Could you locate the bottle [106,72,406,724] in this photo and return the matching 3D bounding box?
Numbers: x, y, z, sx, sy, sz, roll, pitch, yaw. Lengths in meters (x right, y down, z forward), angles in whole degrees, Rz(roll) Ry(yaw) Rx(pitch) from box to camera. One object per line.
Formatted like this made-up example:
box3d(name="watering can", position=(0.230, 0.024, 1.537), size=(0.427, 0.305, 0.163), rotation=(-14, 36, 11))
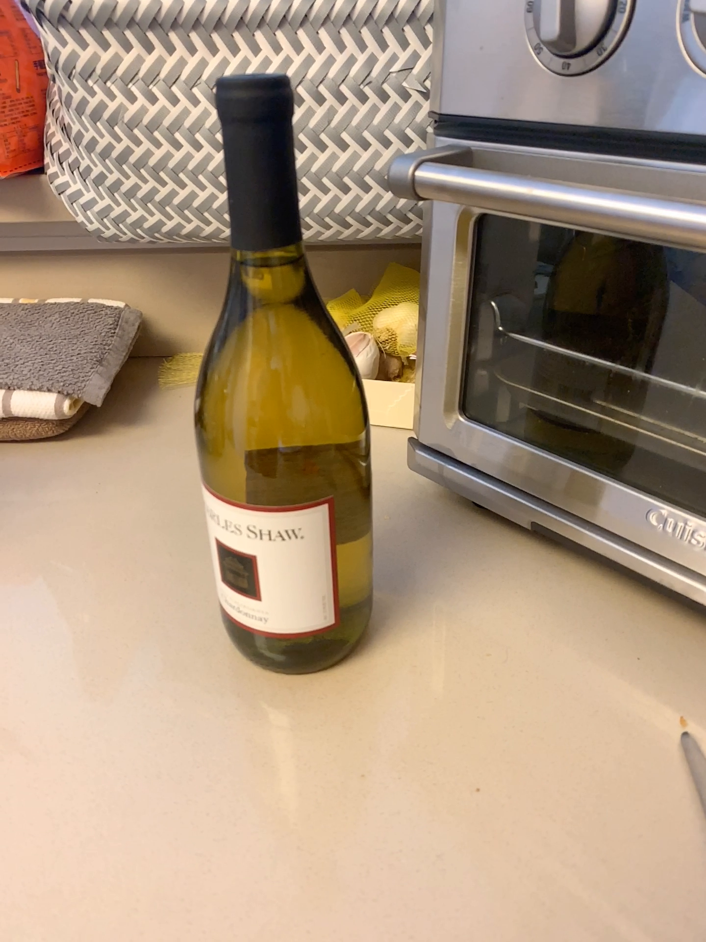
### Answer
box3d(name="bottle", position=(-0.032, -0.022, 0.322), size=(0.080, 0.268, 0.070), rotation=(25, 40, 37))
